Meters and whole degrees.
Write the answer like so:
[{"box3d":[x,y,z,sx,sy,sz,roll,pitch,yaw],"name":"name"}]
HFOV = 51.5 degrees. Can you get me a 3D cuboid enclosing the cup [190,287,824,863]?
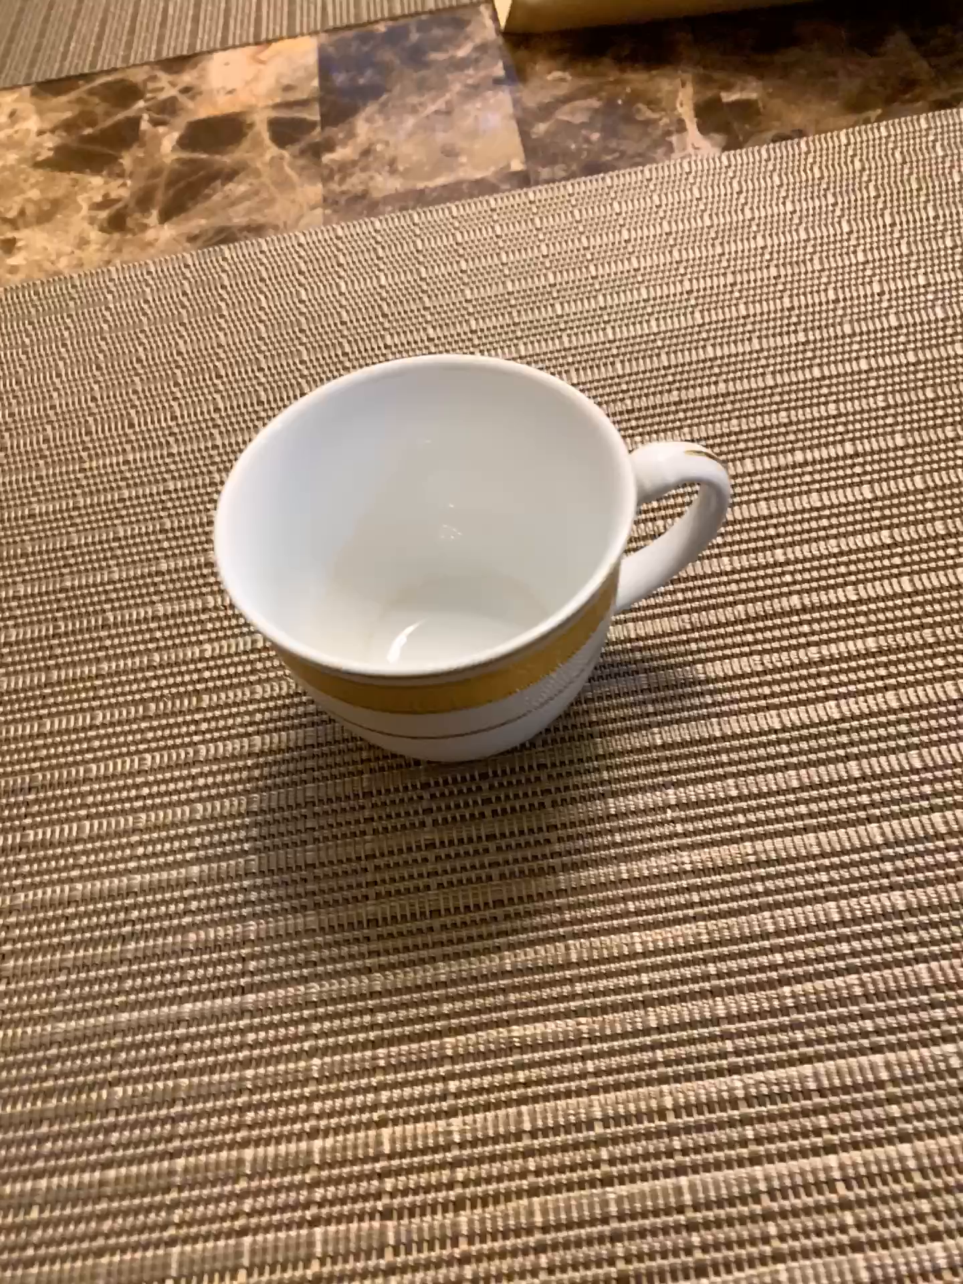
[{"box3d":[0.001,-0.015,0.209,0.103,0.055,0.083,-14,56,-1],"name":"cup"}]
